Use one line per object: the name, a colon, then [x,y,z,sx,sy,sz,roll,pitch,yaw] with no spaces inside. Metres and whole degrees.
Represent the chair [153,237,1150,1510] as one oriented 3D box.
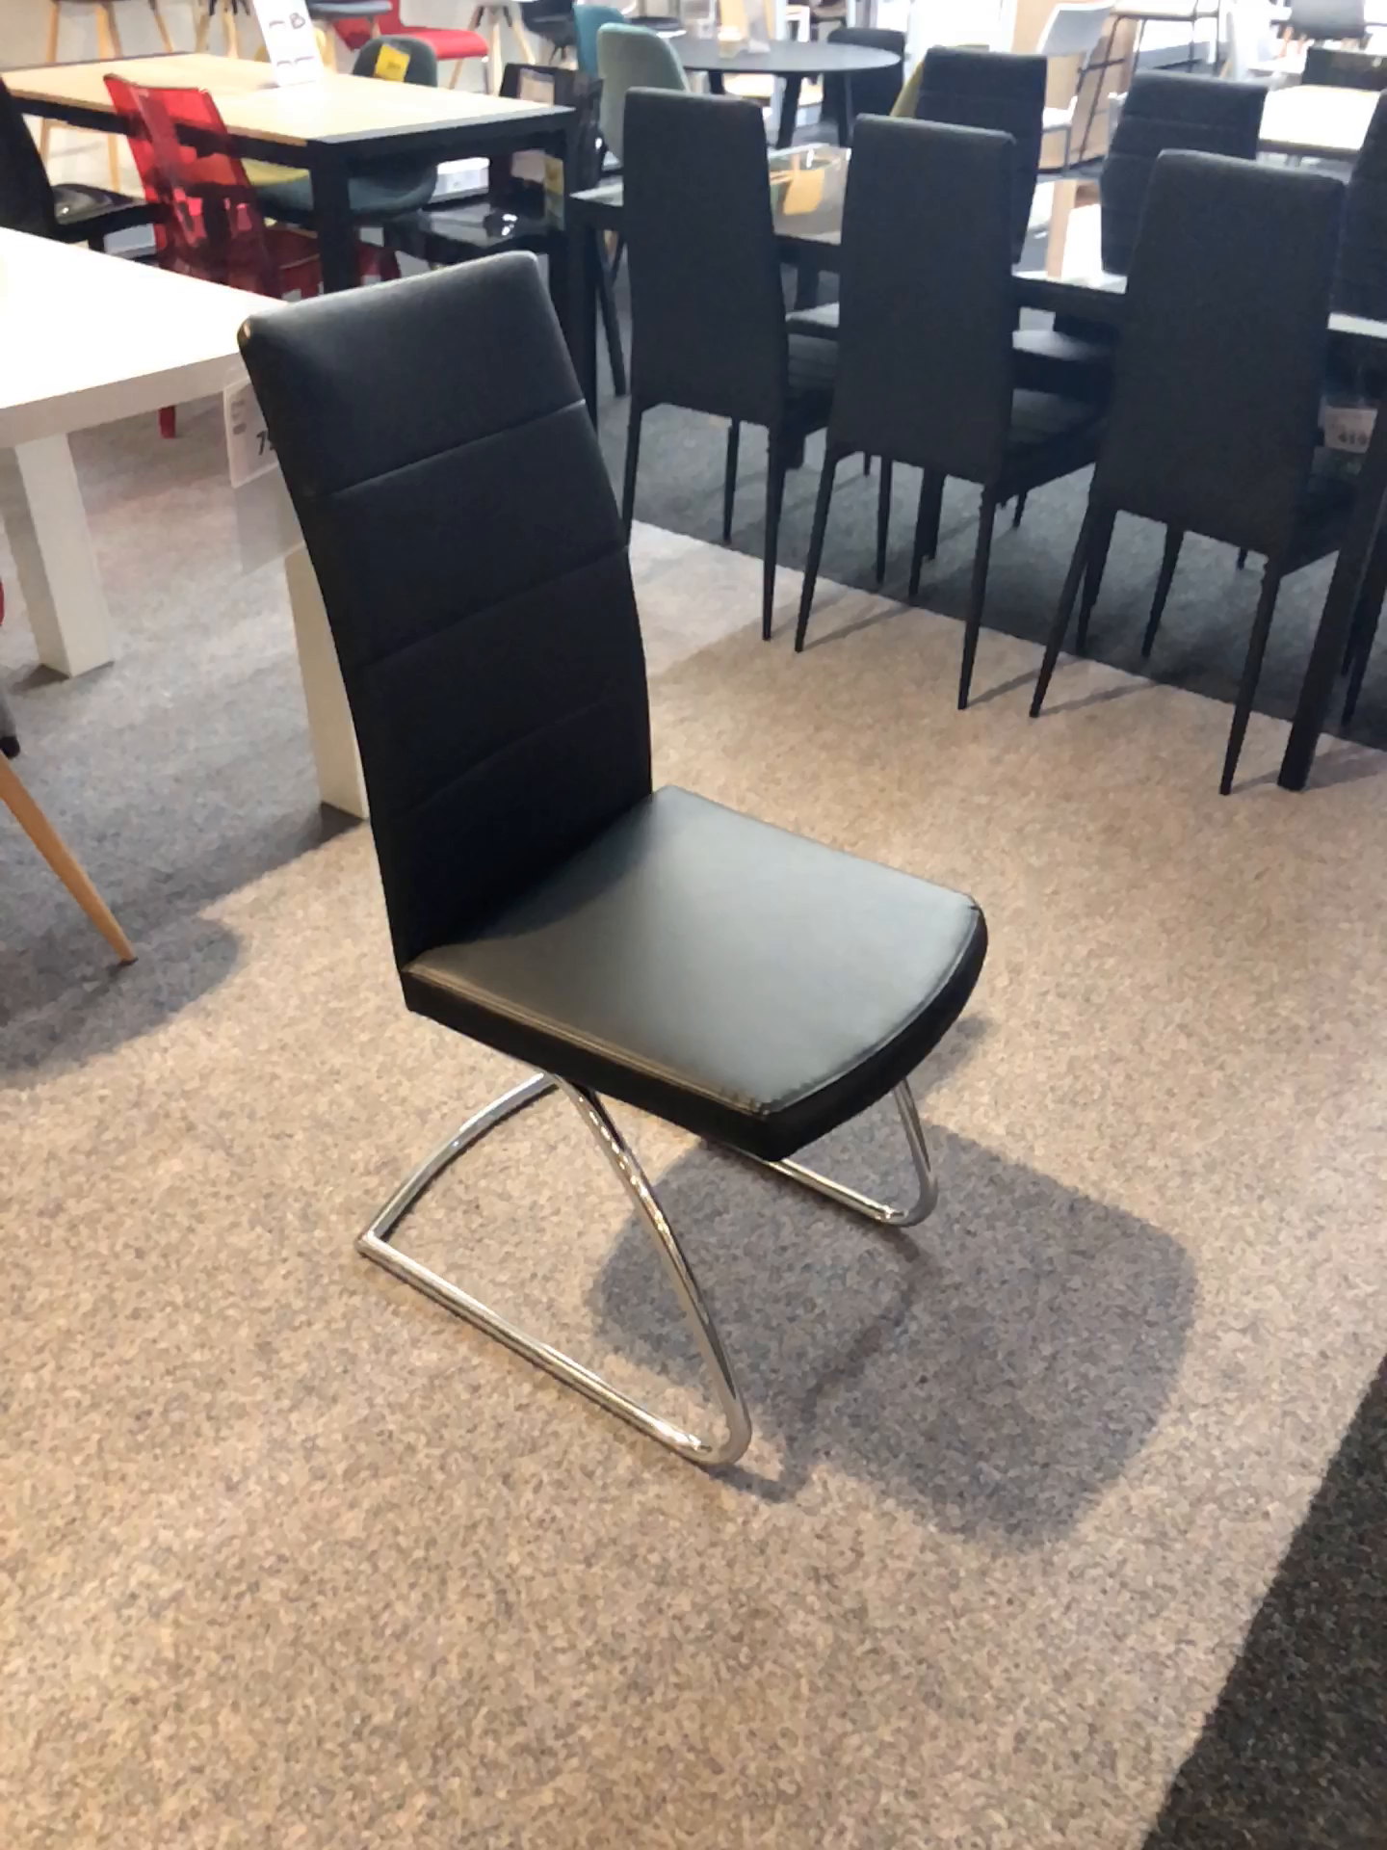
chair: [-0.027,-0.064,1.383,0.560,0.904,0.493,22,39,27]
